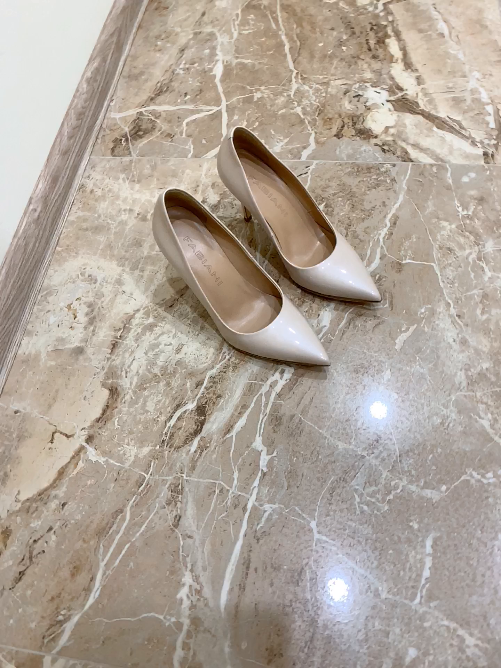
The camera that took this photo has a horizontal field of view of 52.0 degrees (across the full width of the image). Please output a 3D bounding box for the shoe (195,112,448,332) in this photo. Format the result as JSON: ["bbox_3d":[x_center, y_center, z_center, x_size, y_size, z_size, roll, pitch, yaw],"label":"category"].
[{"bbox_3d":[0.068,-0.123,0.554,0.240,0.110,0.090,35,71,22],"label":"shoe"}]

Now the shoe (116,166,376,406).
[{"bbox_3d":[-0.006,-0.051,0.525,0.240,0.120,0.090,35,71,22],"label":"shoe"}]
